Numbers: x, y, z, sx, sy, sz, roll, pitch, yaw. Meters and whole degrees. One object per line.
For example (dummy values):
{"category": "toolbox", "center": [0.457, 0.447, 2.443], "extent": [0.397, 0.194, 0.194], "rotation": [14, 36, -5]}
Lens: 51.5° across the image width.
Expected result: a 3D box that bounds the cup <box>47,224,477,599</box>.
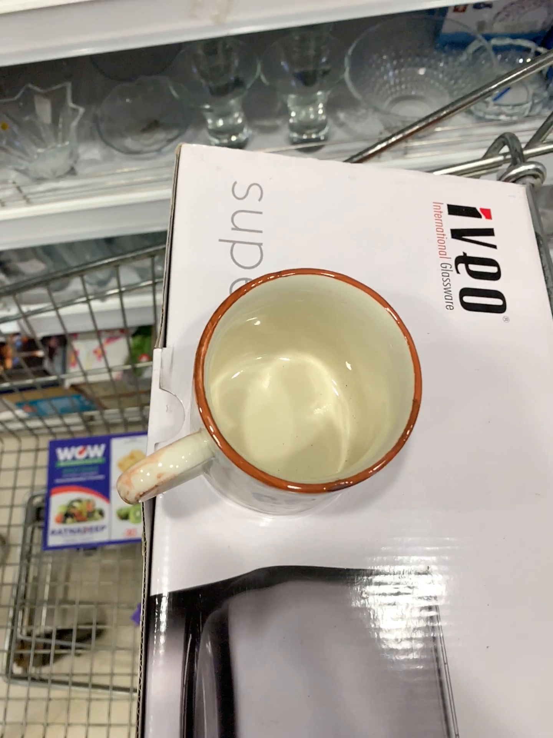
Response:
{"category": "cup", "center": [-0.007, 0.016, 0.192], "extent": [0.100, 0.070, 0.070], "rotation": [-23, 68, -17]}
